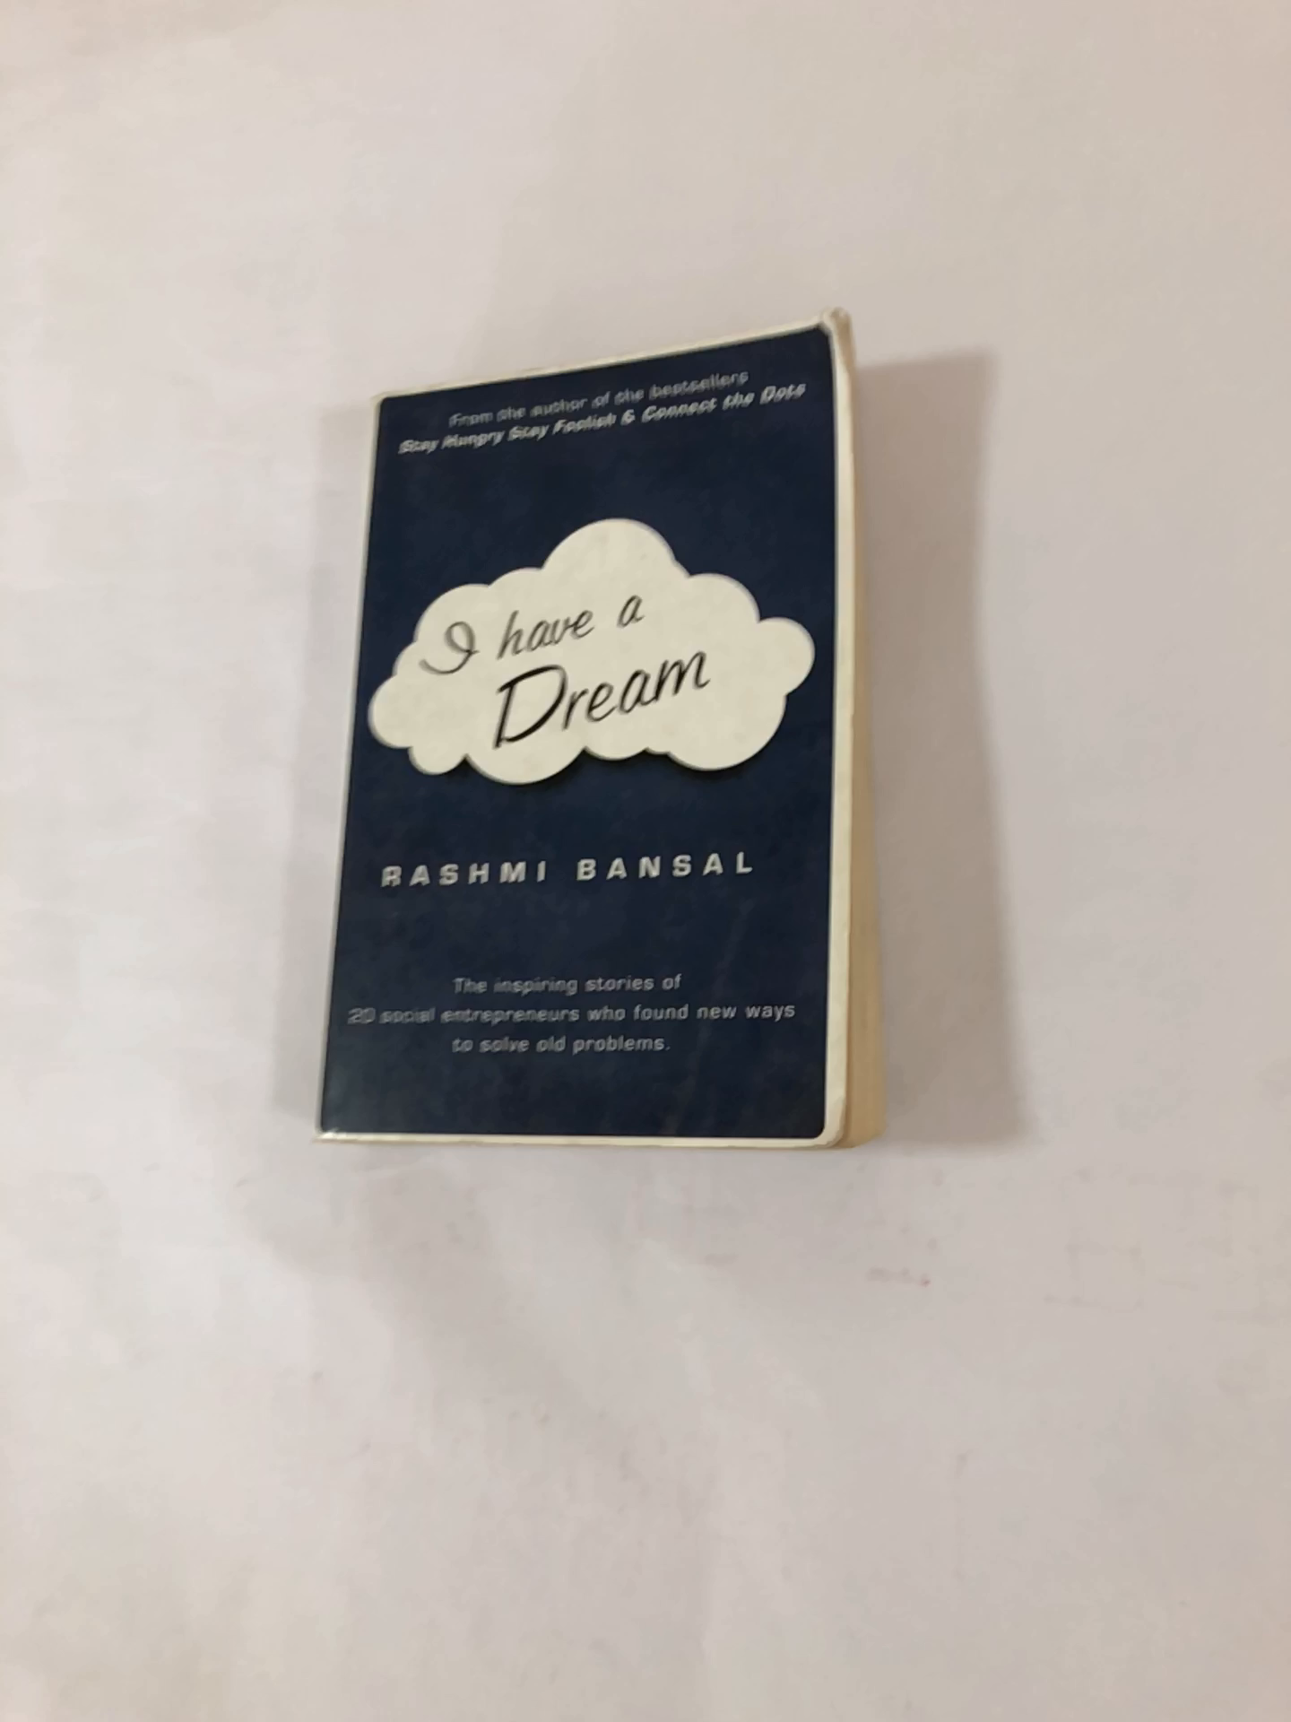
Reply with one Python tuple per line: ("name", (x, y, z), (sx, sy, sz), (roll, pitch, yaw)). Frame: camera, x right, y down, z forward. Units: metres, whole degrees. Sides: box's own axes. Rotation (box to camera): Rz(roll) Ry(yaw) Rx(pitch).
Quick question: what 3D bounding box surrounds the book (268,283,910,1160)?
("book", (-0.011, -0.032, 0.346), (0.140, 0.030, 0.200), (-3, 75, 16))
